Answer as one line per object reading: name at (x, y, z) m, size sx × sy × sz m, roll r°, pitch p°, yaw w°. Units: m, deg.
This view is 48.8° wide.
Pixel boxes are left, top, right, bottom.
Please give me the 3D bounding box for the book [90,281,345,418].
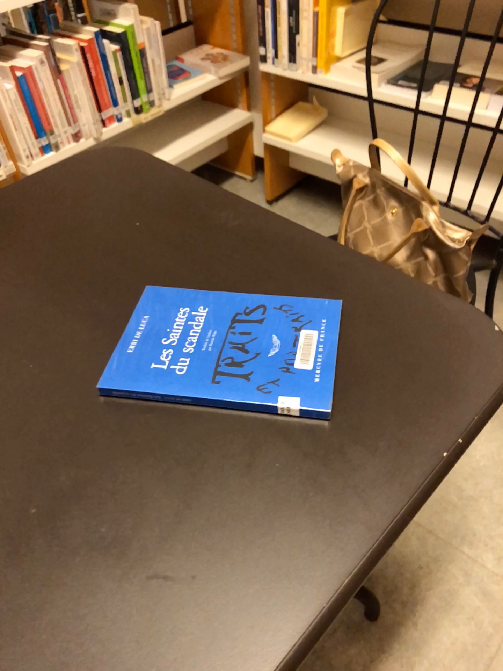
book at (-0.024, 0.006, 0.527) m, size 0.215 × 0.017 × 0.145 m, roll 4°, pitch 45°, yaw 10°
